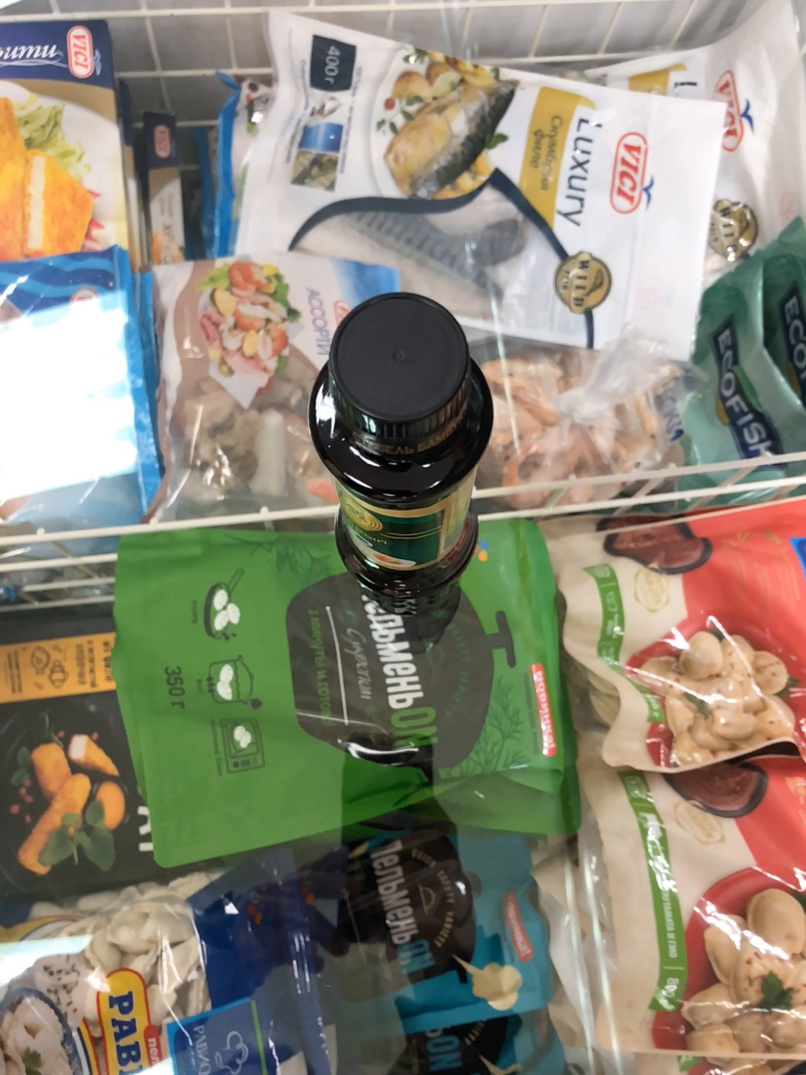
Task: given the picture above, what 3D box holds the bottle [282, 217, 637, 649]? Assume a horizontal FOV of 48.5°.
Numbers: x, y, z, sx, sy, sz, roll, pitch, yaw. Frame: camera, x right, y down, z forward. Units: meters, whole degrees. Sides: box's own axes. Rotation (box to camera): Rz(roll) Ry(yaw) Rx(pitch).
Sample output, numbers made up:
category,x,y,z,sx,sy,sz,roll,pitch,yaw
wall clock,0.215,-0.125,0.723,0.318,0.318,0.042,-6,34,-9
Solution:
category,x,y,z,sx,sy,sz,roll,pitch,yaw
bottle,0.008,-0.011,0.281,0.053,0.200,0.058,0,78,-2
